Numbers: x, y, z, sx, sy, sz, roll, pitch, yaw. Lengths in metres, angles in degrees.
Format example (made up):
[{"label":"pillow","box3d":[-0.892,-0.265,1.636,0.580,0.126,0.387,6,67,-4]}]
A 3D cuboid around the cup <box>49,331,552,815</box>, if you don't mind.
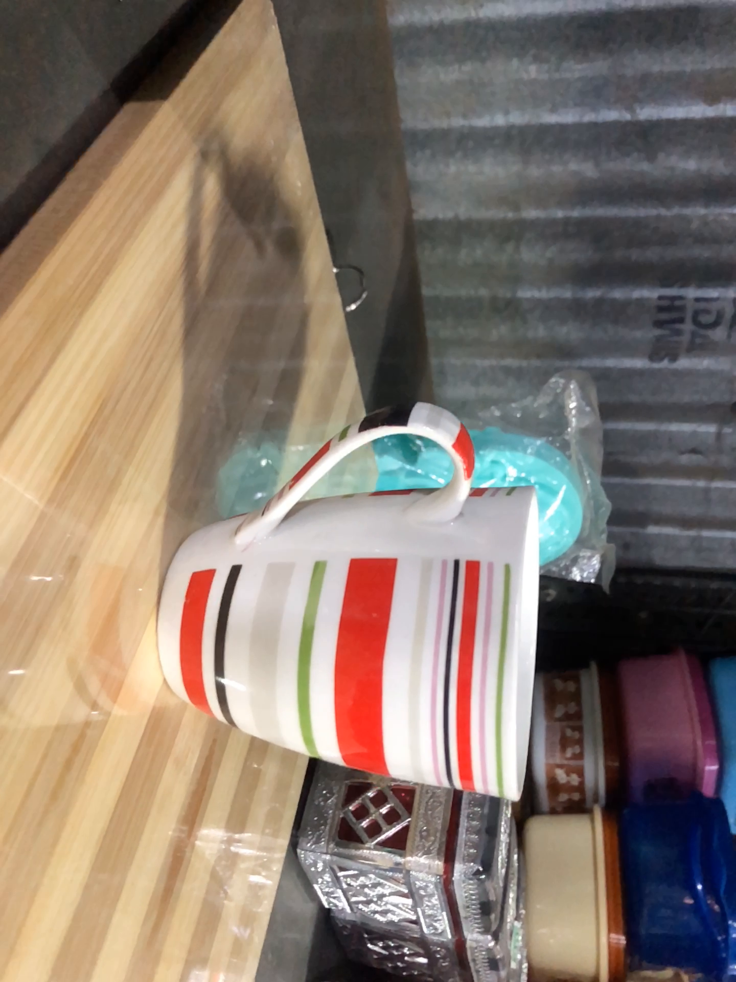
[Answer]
[{"label":"cup","box3d":[-0.002,0.025,0.227,0.110,0.100,0.080,76,20,-50]}]
